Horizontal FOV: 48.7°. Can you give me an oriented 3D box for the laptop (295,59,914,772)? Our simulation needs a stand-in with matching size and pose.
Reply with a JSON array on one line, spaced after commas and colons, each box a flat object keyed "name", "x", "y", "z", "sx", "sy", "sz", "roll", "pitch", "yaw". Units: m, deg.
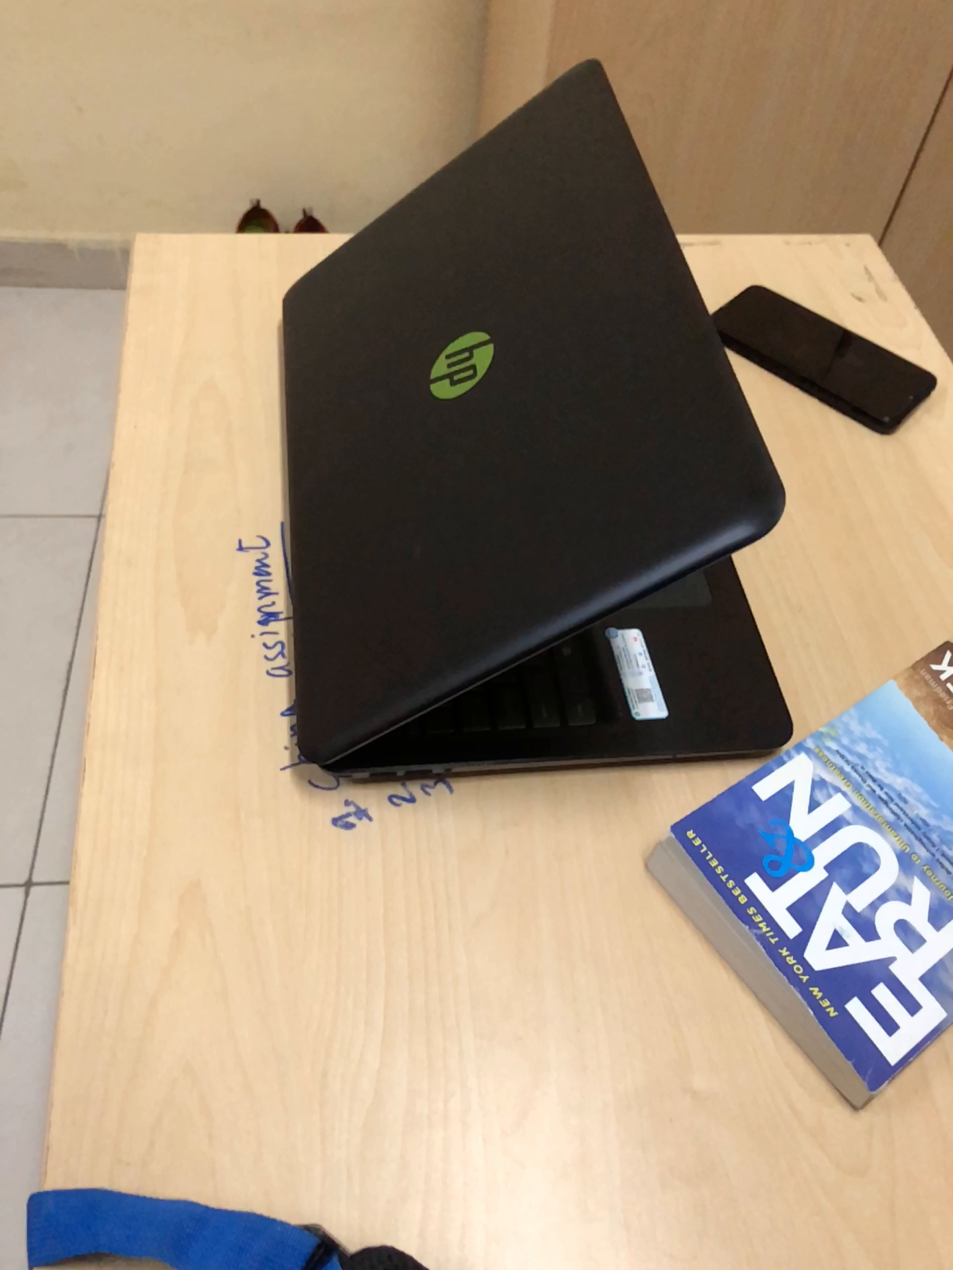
[{"name": "laptop", "x": 0.029, "y": -0.137, "z": 0.571, "sx": 0.231, "sy": 0.167, "sz": 0.361, "roll": -3, "pitch": 53, "yaw": -9}]
